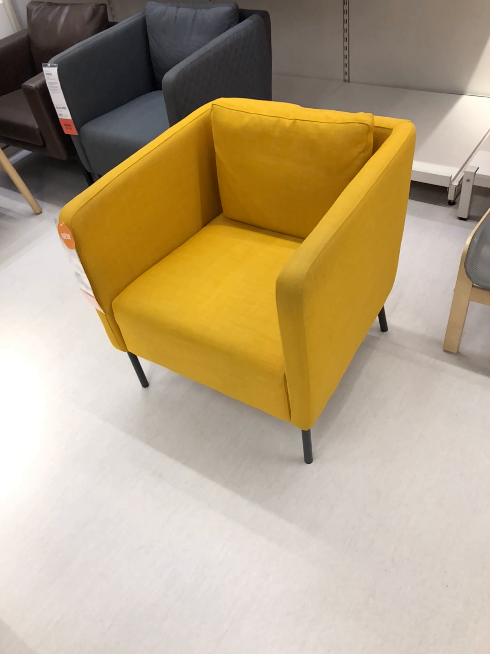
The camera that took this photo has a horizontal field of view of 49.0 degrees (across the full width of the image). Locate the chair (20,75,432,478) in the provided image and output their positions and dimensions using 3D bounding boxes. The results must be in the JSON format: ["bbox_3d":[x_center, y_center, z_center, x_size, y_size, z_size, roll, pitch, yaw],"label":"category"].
[{"bbox_3d":[0.008,-0.182,1.487,0.722,0.695,0.663,20,52,28],"label":"chair"}]
